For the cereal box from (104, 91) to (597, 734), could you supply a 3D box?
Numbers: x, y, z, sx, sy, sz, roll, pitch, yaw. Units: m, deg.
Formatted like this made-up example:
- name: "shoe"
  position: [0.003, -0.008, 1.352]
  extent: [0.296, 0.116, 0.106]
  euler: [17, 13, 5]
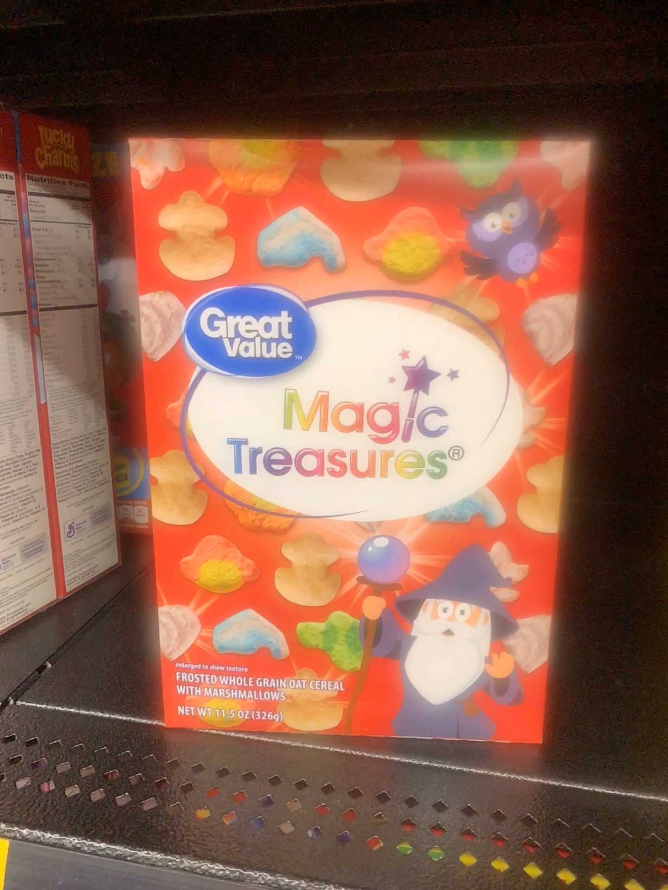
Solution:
- name: "cereal box"
  position: [0.007, -0.010, 0.338]
  extent: [0.200, 0.279, 0.070]
  euler: [1, 10, 4]
